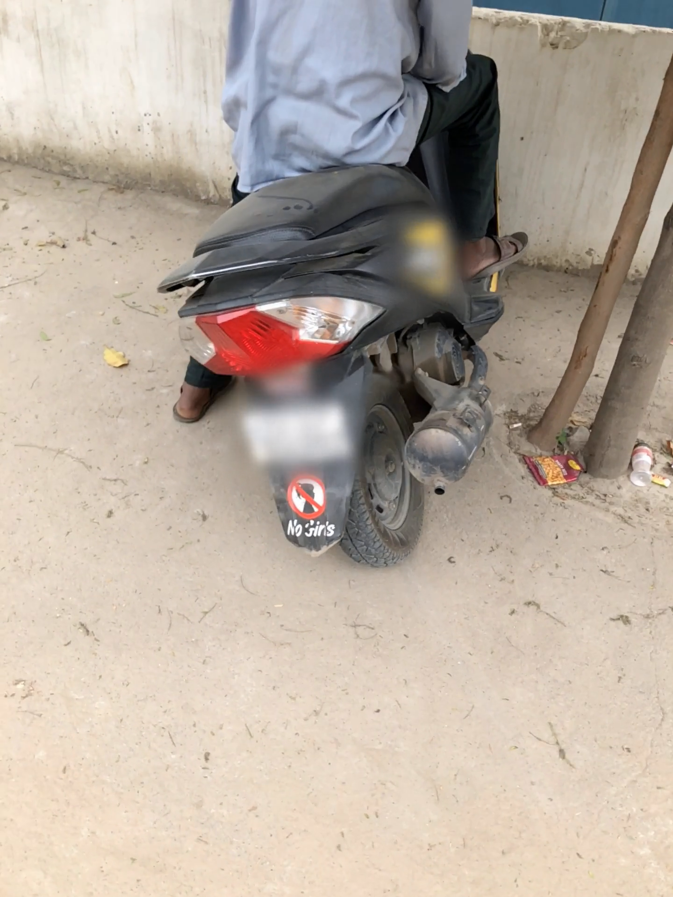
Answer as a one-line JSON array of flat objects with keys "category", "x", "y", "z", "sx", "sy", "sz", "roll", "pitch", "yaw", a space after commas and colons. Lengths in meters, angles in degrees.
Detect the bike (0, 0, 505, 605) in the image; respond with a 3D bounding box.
[{"category": "bike", "x": -0.023, "y": -0.695, "z": 1.797, "sx": 0.633, "sy": 1.144, "sz": 1.582, "roll": 9, "pitch": 39, "yaw": 6}]
